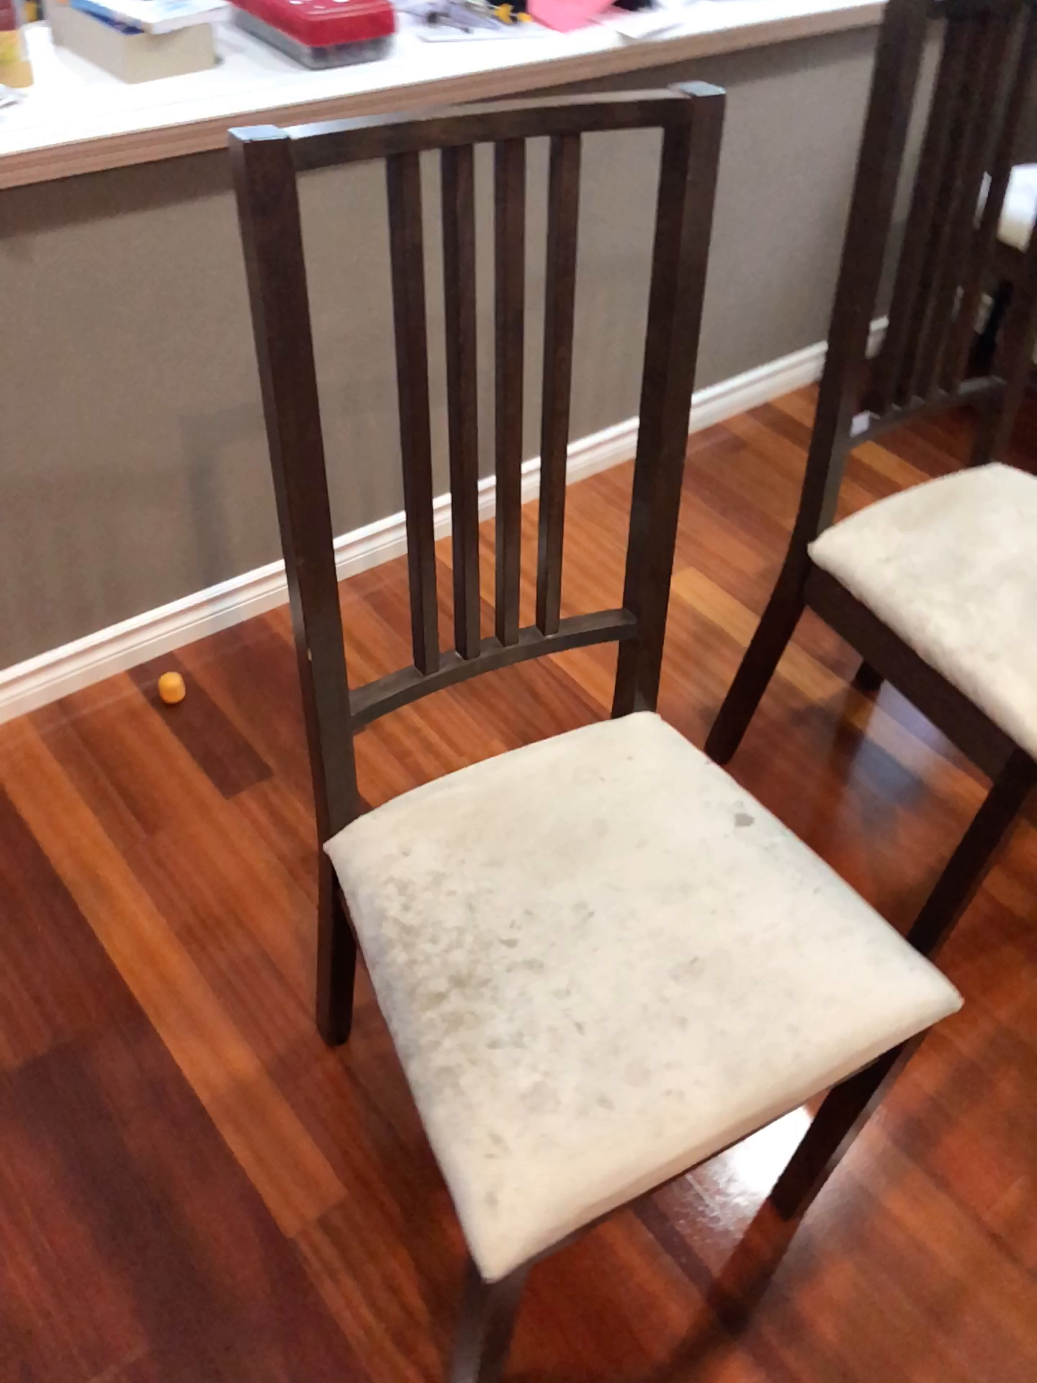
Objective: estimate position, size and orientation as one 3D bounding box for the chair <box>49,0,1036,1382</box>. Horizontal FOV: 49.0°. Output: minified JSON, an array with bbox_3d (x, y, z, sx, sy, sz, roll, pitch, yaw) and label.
[{"bbox_3d":[0.101,0.081,0.923,0.591,0.994,0.543,-21,51,-26],"label":"chair"}]
